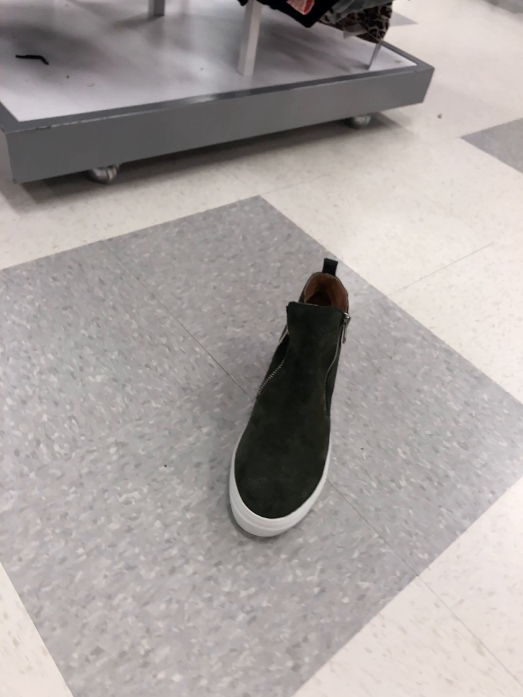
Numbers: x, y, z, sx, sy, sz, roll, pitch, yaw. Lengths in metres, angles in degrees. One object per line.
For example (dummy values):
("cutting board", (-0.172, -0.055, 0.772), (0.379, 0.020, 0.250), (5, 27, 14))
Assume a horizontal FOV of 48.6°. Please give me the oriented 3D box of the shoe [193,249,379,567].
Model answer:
("shoe", (0.034, 0.047, 0.608), (0.108, 0.141, 0.293), (17, 45, 3))
